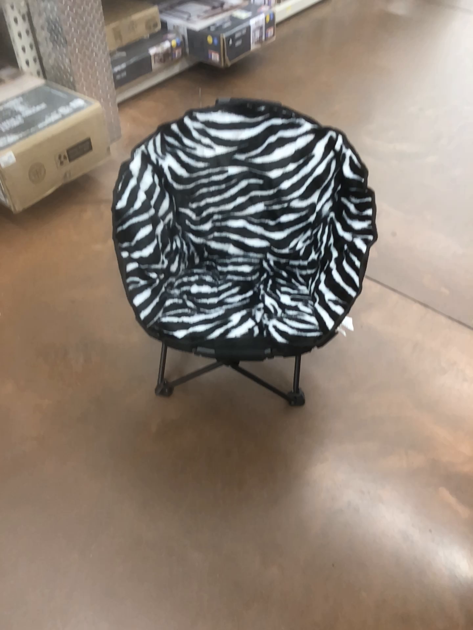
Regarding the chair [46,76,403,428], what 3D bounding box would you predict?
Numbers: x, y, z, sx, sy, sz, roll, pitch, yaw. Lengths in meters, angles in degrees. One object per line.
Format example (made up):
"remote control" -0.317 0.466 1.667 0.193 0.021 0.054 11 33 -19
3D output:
"chair" -0.010 -0.156 1.312 0.610 0.598 0.602 4 48 2
